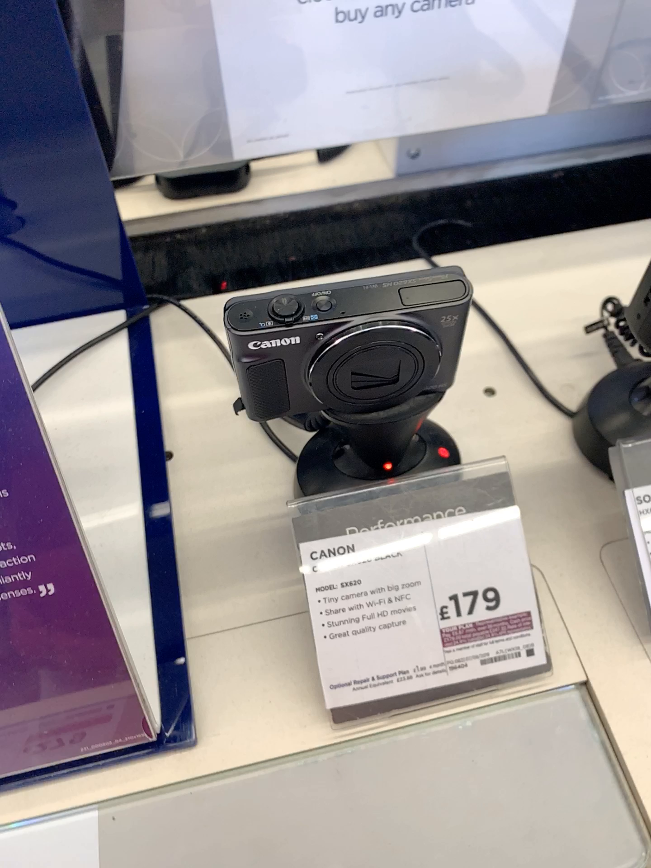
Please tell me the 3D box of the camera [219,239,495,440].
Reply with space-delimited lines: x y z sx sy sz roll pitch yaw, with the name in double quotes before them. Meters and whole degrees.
"camera" 0.010 -0.034 0.255 0.090 0.060 0.030 -9 55 -5
